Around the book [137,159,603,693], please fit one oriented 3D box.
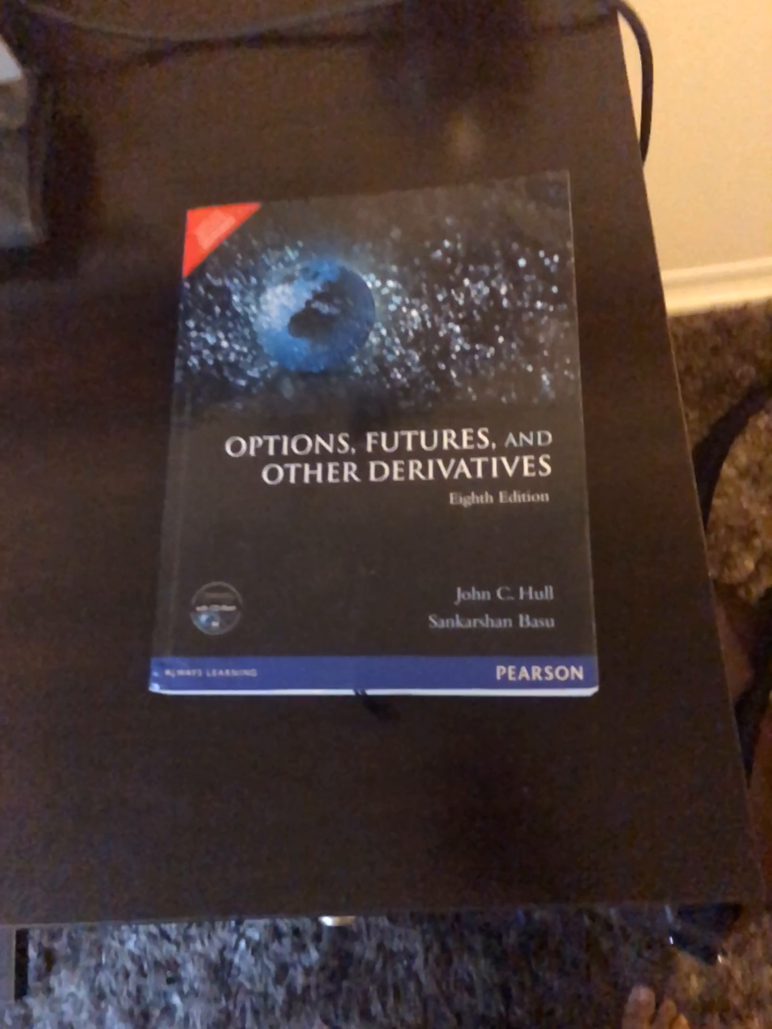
[{"bbox_3d":[-0.006,-0.044,0.432,0.207,0.050,0.262,-1,75,7],"label":"book"}]
